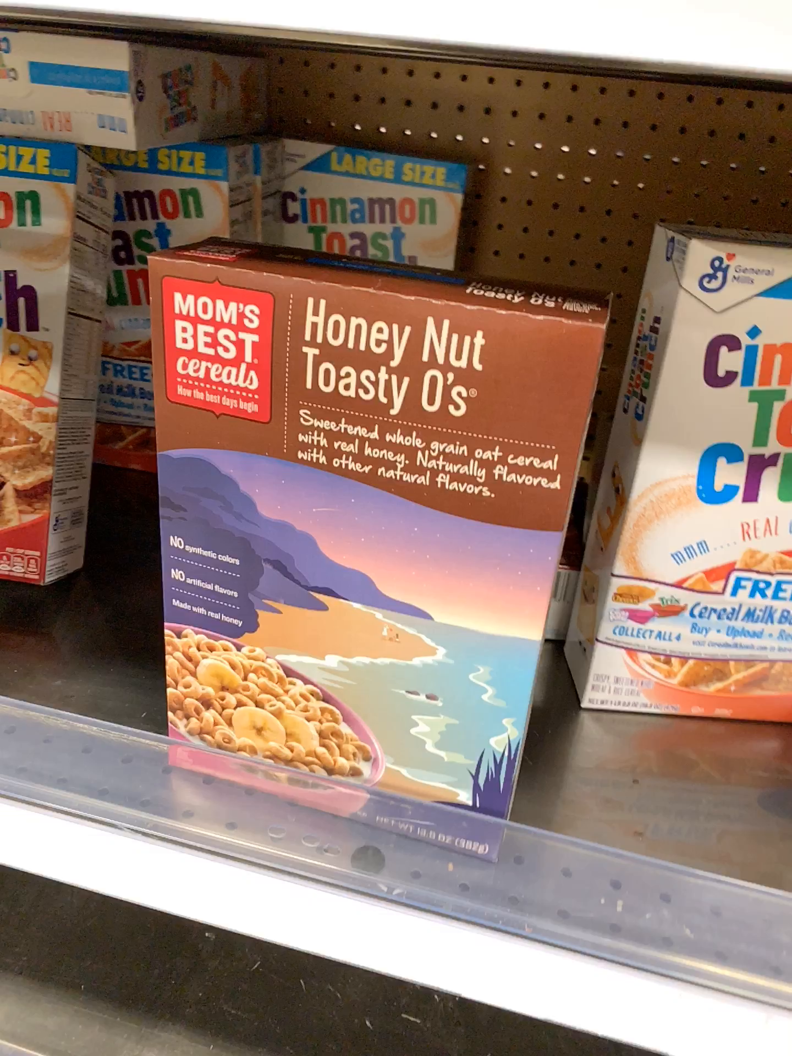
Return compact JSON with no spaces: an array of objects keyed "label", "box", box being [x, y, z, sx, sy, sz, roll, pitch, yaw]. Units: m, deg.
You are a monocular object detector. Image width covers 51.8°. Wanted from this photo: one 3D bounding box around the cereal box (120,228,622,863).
[{"label":"cereal box","box":[-0.019,0.013,0.406,0.200,0.279,0.070,12,28,12]}]
